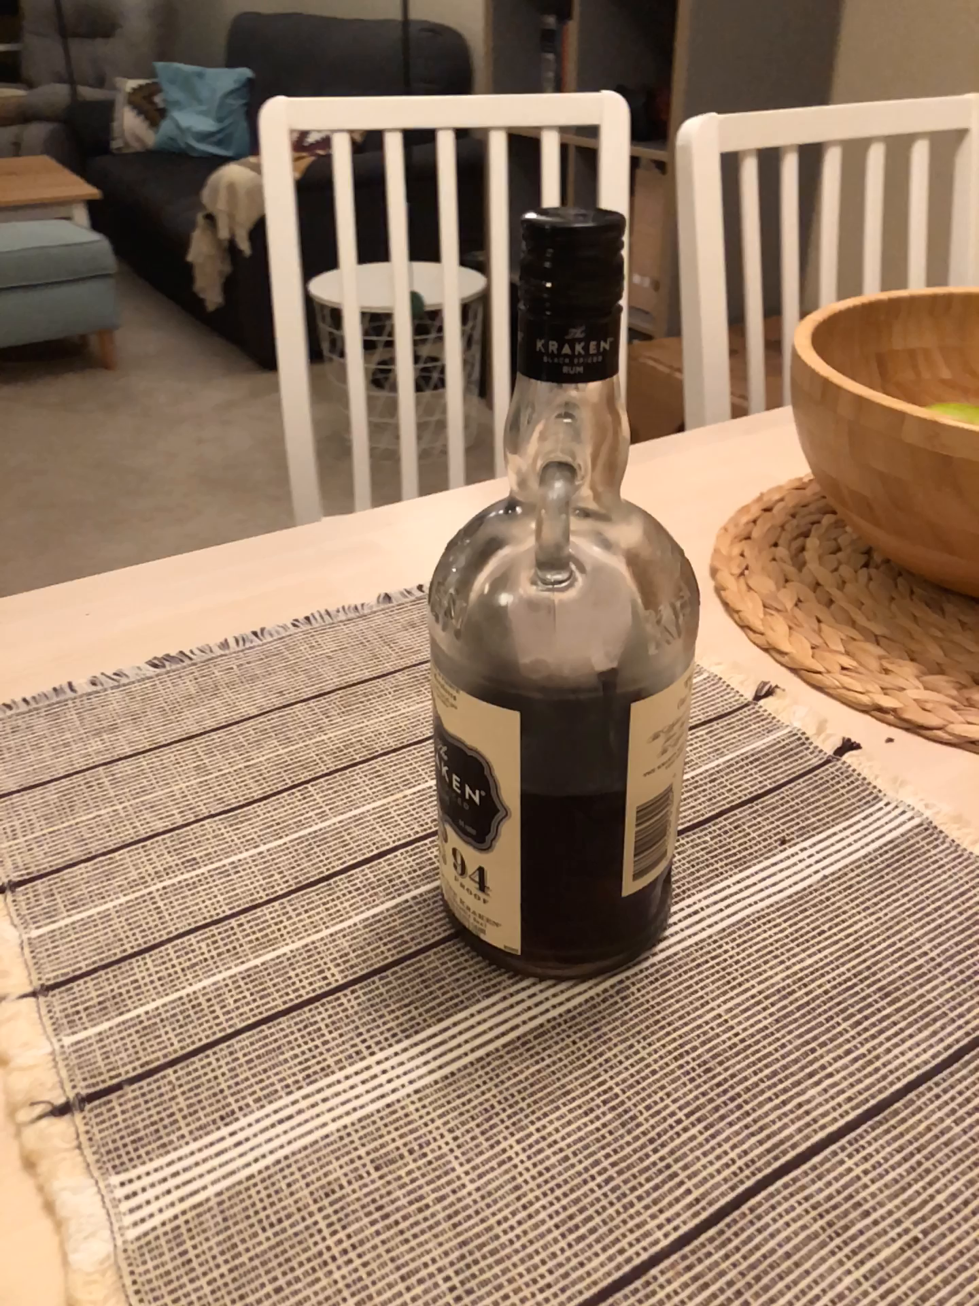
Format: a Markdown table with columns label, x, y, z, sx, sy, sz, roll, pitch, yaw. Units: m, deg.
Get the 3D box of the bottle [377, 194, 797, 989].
| label | x | y | z | sx | sy | sz | roll | pitch | yaw |
| --- | --- | --- | --- | --- | --- | --- | --- | --- | --- |
| bottle | 0.024 | -0.013 | 0.364 | 0.100 | 0.248 | 0.101 | 0 | 31 | 0 |
